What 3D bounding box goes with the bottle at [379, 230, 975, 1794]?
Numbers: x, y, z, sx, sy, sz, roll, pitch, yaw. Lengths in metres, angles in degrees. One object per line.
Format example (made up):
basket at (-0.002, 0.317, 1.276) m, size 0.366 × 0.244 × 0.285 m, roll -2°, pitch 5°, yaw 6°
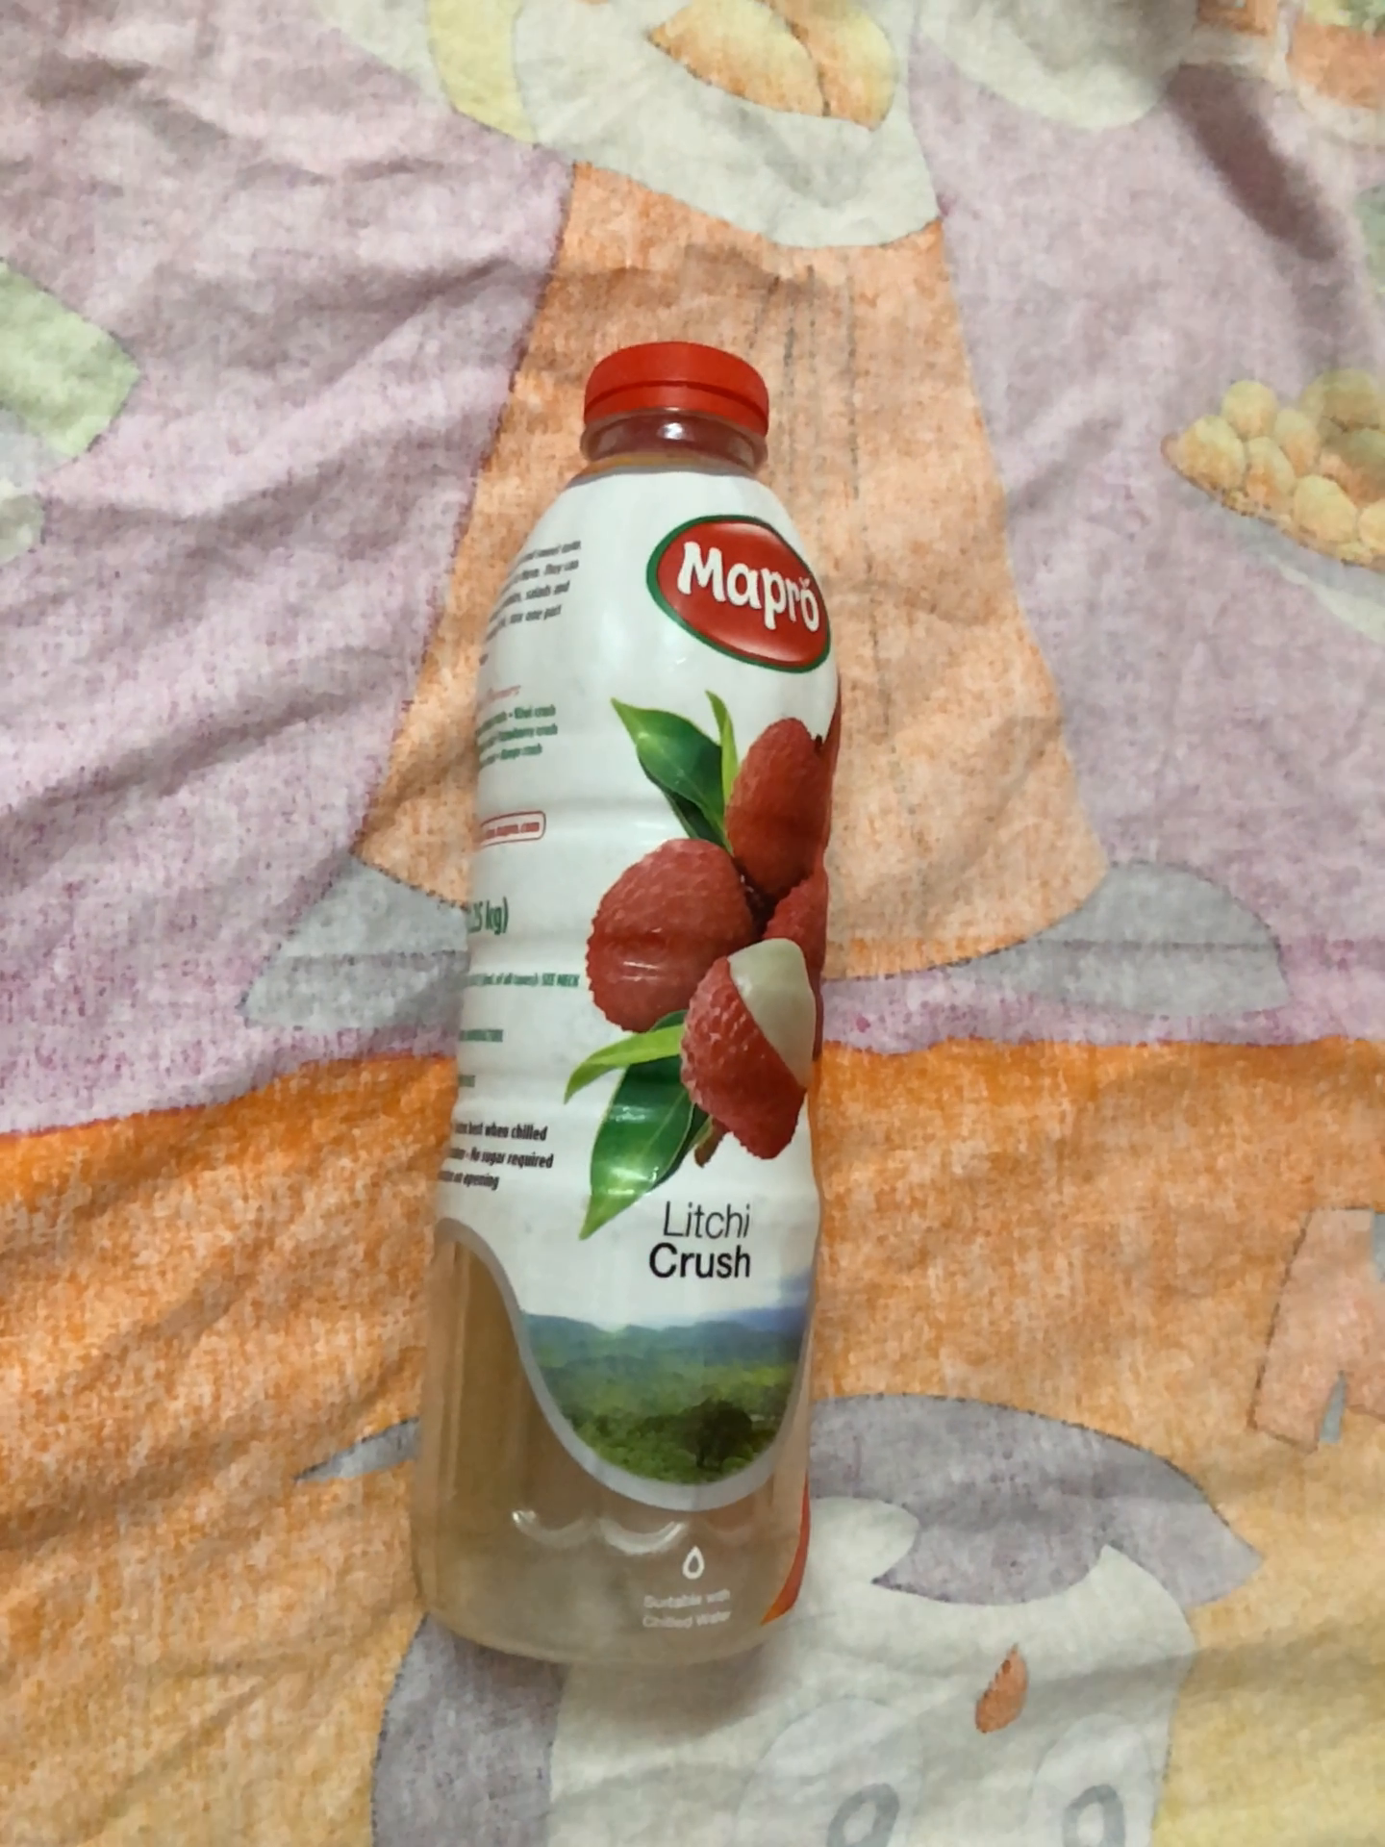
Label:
bottle at (-0.003, 0.014, 0.302) m, size 0.080 × 0.070 × 0.260 m, roll 7°, pitch 82°, yaw -24°
